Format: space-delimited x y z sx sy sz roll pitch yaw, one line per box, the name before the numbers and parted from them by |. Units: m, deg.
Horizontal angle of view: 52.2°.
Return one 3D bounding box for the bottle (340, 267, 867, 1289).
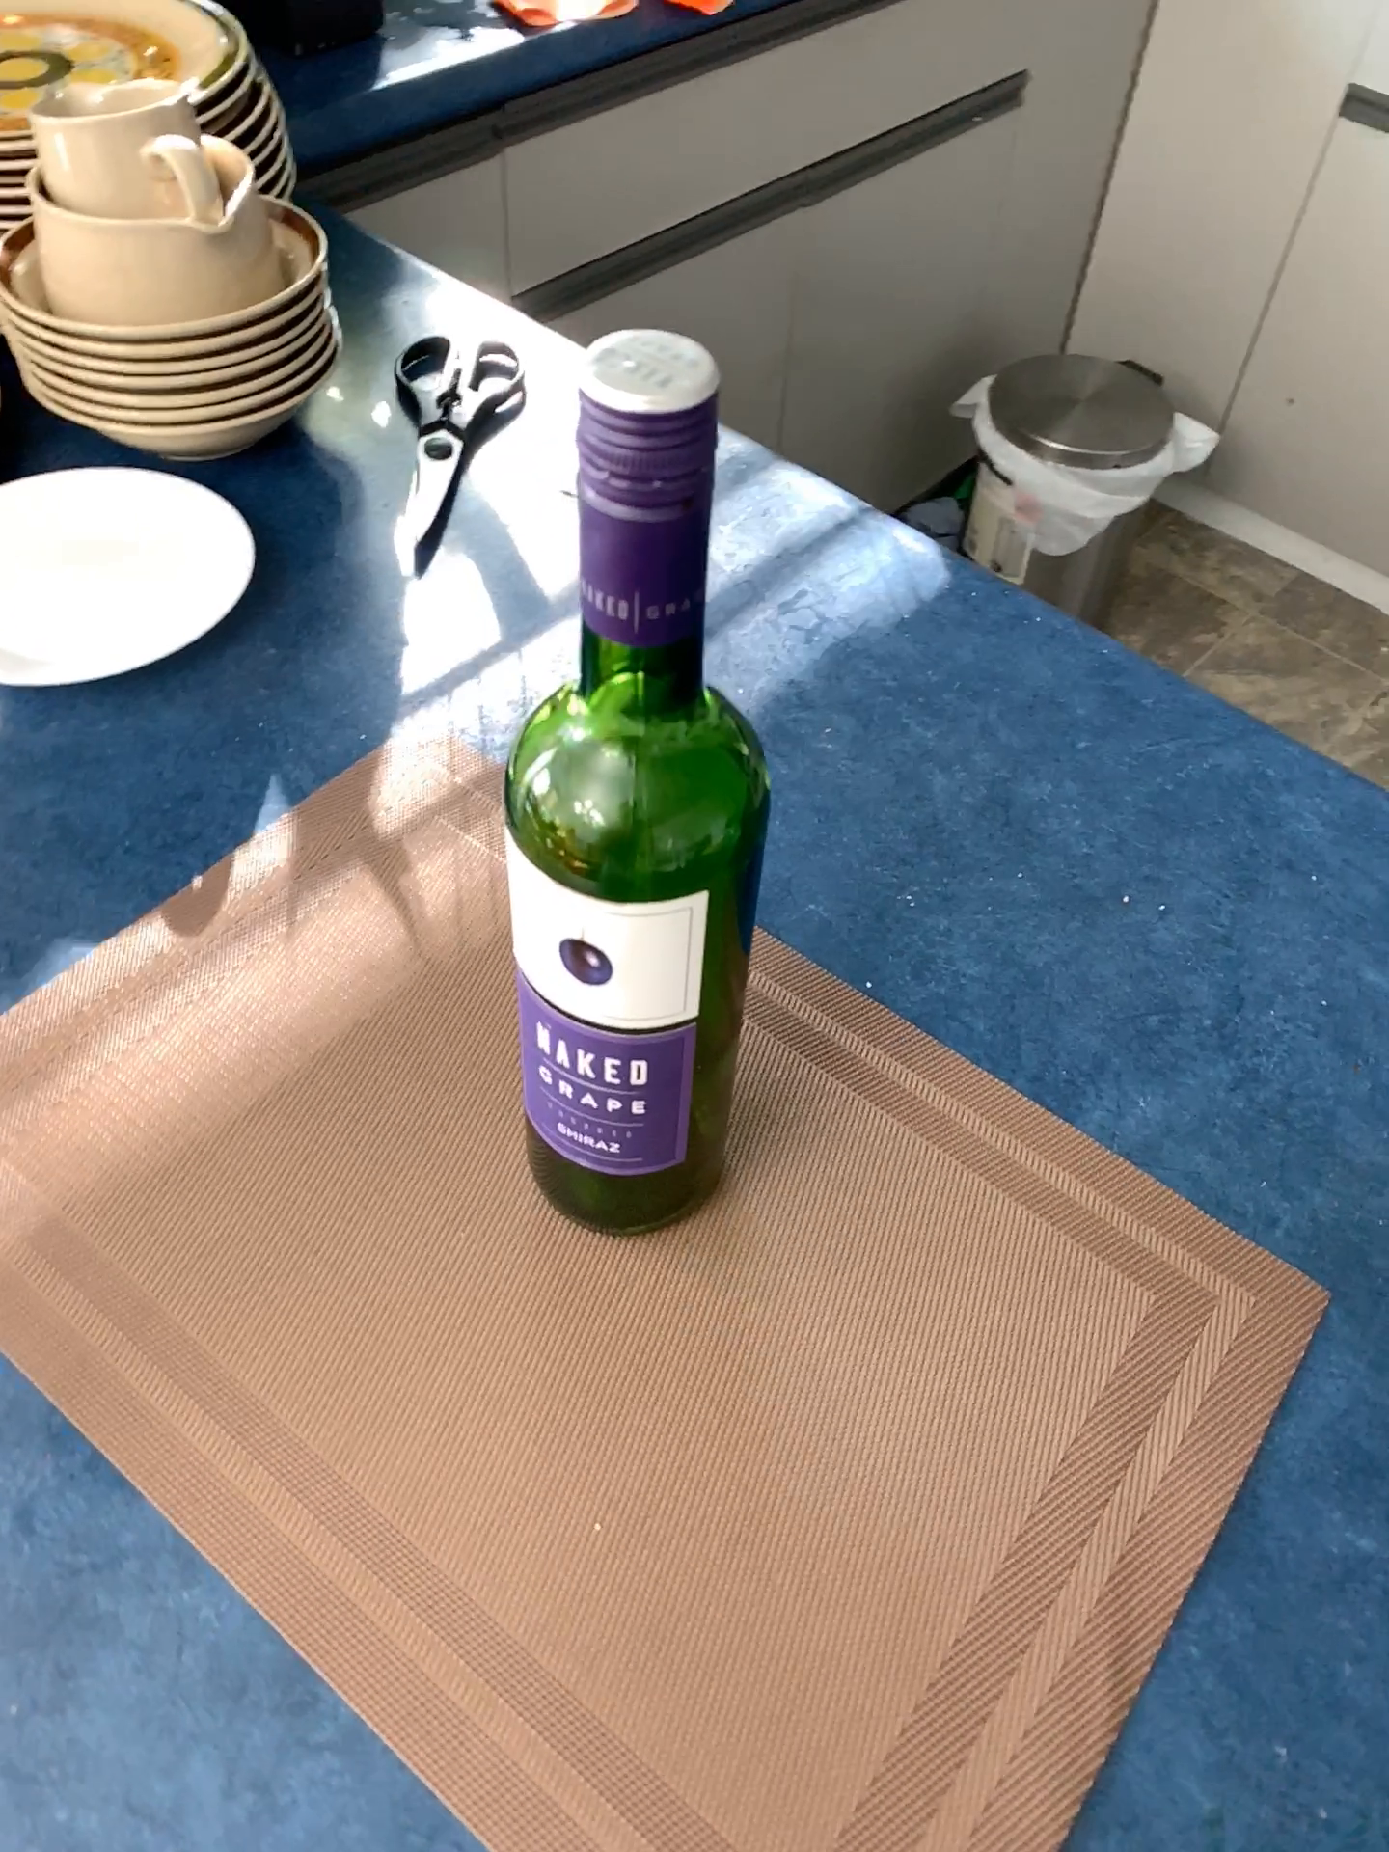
bottle | -0.022 -0.013 0.390 0.080 0.288 0.081 2 50 -2
